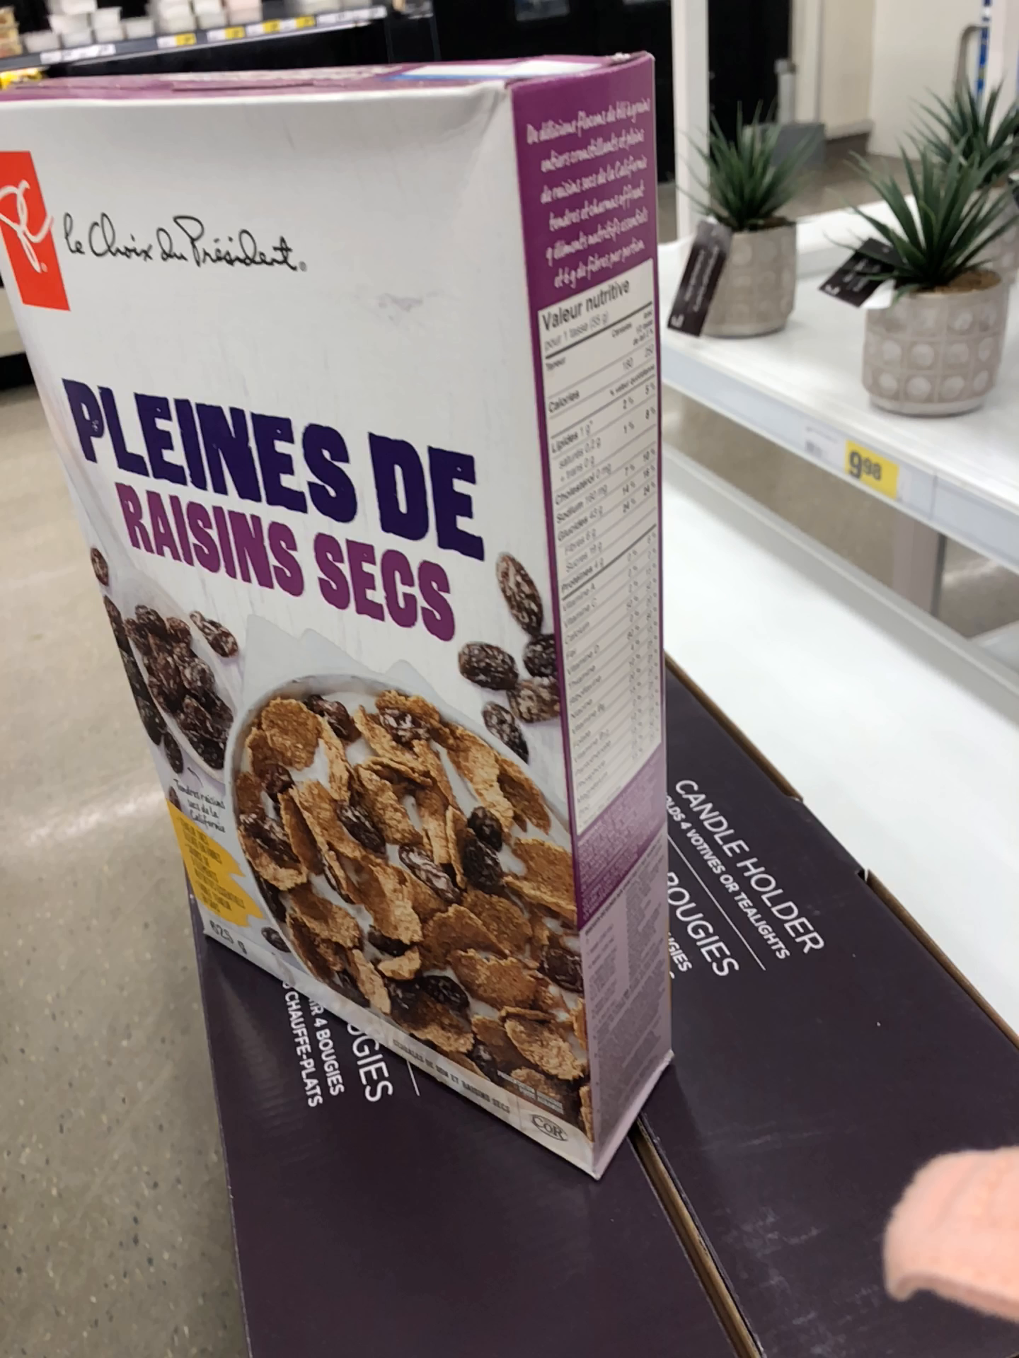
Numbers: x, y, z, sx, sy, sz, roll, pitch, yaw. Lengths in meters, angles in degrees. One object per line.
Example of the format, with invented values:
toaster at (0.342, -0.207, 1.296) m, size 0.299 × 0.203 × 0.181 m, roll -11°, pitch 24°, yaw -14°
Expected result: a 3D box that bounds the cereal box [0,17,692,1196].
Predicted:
cereal box at (-0.051, -0.013, 0.334) m, size 0.200 × 0.299 × 0.060 m, roll 19°, pitch 41°, yaw 35°
